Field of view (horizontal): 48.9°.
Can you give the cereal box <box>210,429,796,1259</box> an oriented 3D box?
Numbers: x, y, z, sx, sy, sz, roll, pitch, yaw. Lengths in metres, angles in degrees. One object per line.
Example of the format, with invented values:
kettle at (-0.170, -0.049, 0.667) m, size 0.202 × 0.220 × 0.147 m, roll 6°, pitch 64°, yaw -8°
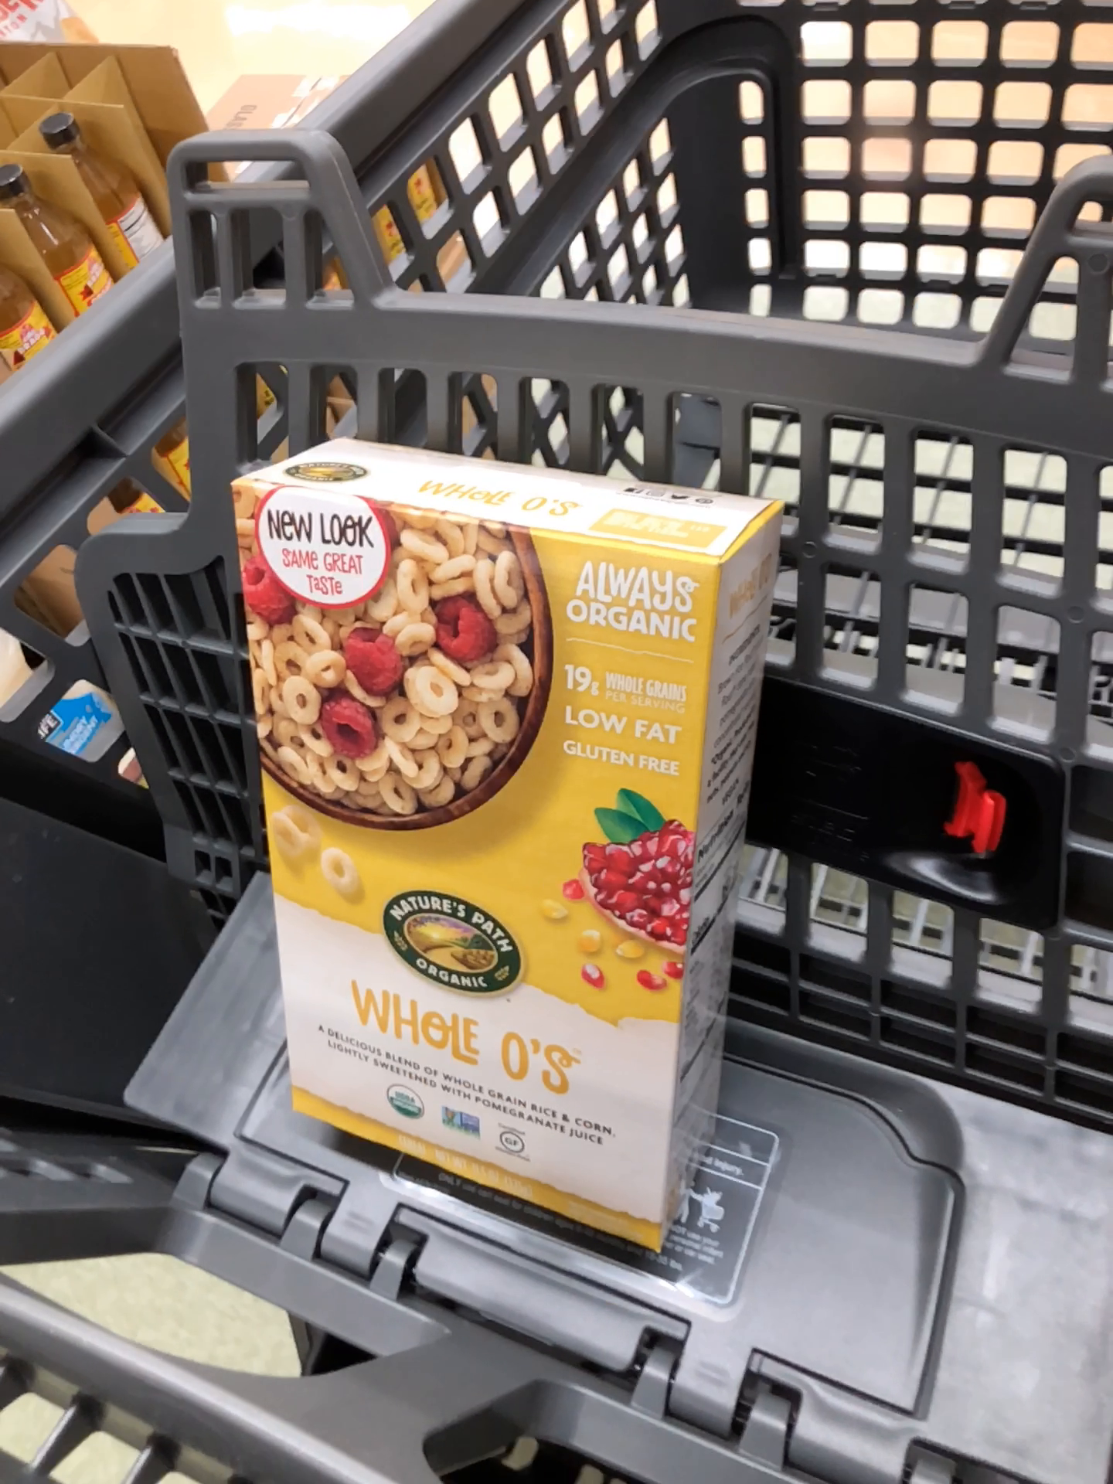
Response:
cereal box at (-0.019, 0.036, 0.412) m, size 0.160 × 0.250 × 0.060 m, roll 14°, pitch 30°, yaw 22°
